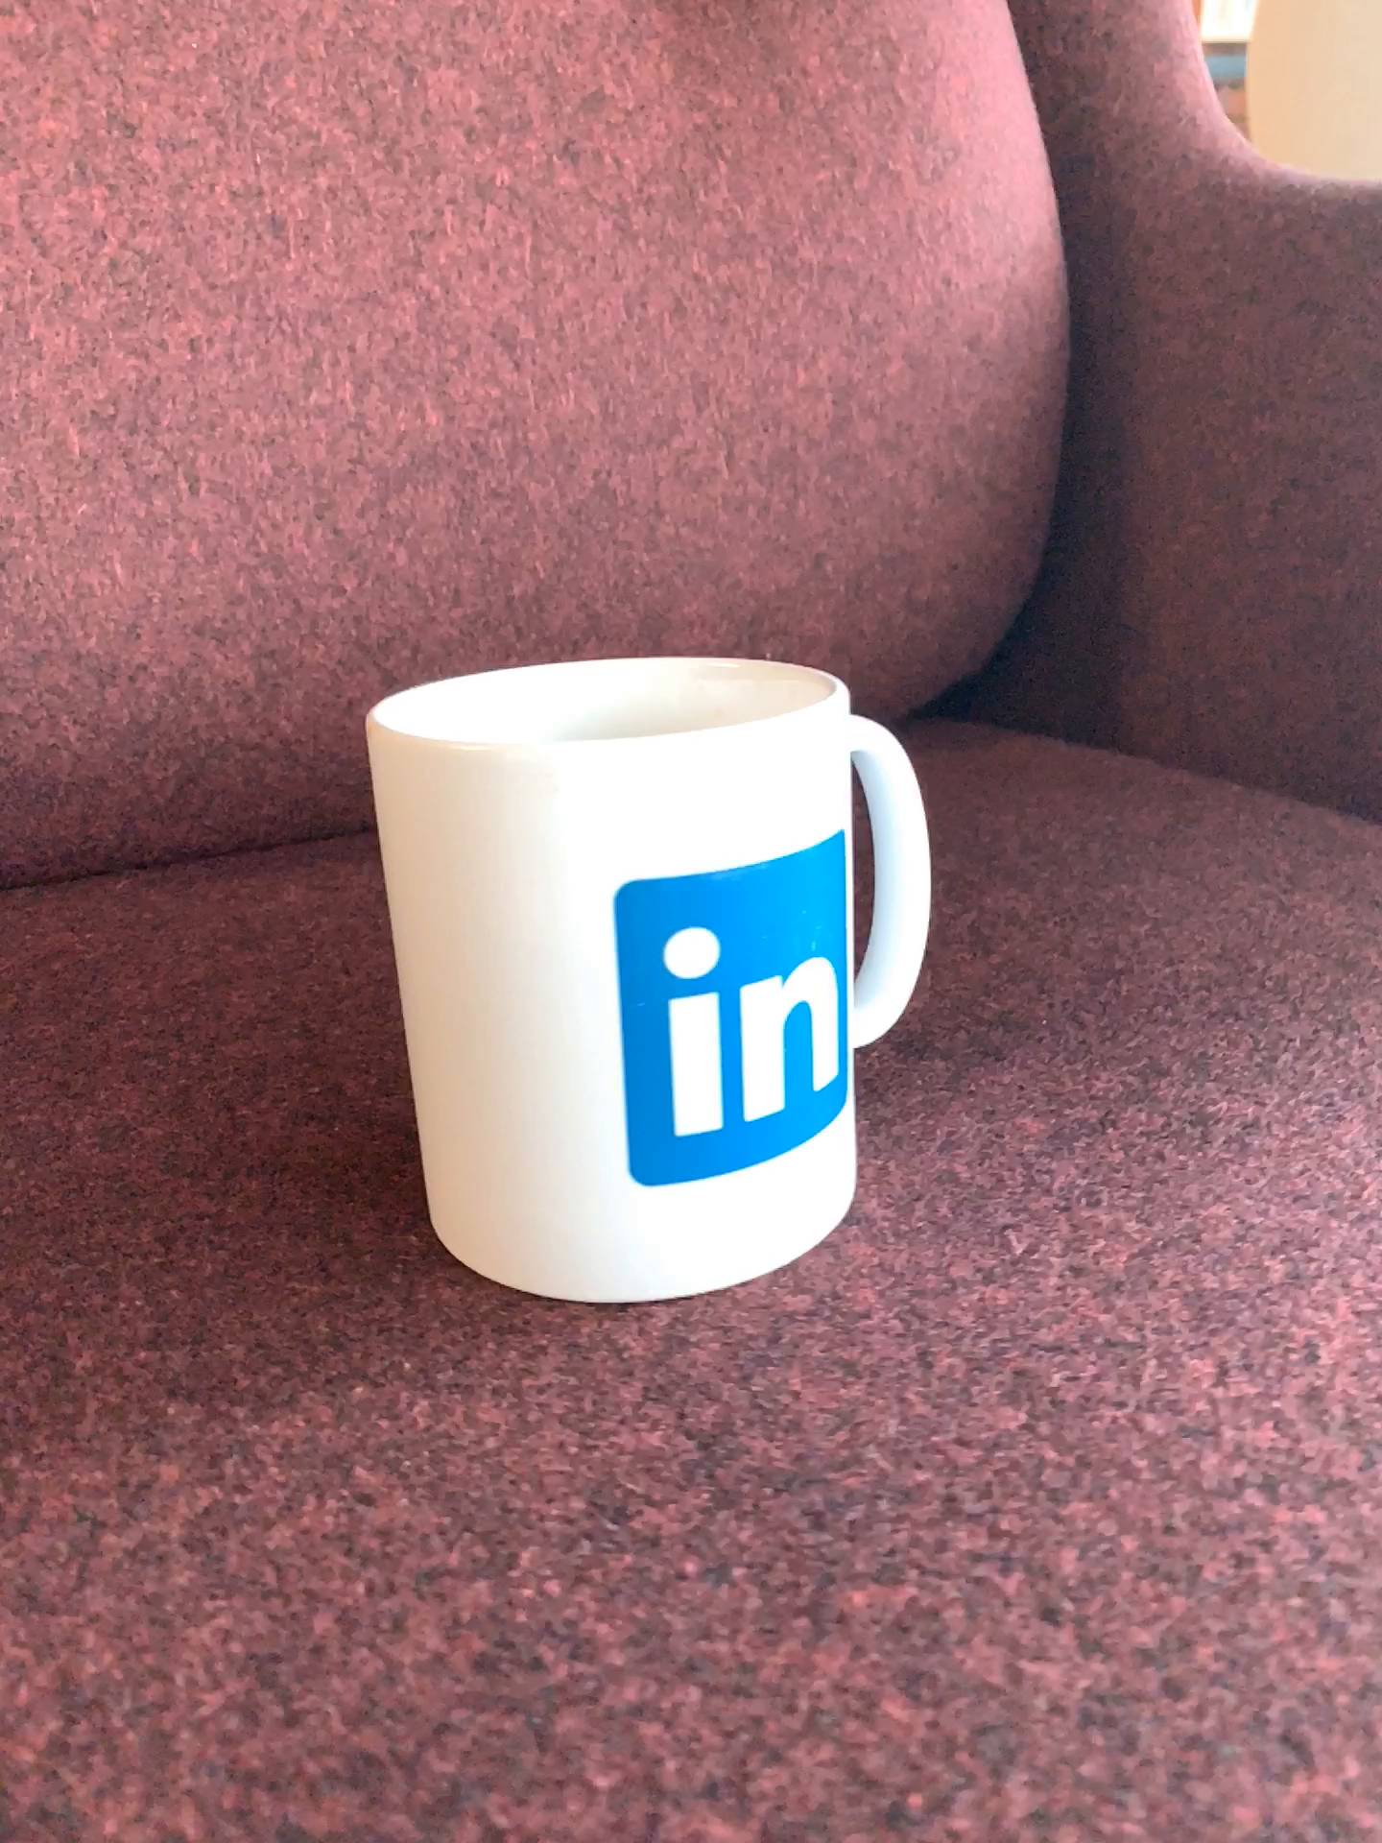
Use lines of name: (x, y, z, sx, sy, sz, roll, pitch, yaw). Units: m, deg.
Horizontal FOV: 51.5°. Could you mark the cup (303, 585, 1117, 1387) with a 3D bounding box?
cup: (0.006, -0.001, 0.239, 0.105, 0.089, 0.075, -18, 23, -29)
